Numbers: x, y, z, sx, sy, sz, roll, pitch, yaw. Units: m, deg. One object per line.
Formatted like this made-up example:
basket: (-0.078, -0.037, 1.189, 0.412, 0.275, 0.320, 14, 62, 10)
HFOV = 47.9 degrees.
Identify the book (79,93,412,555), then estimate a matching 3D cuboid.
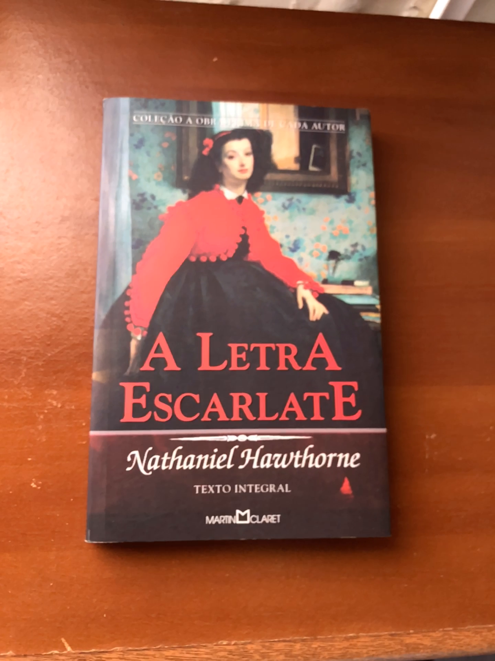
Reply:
book: (0.000, -0.007, 0.208, 0.111, 0.015, 0.166, 1, 80, -4)
